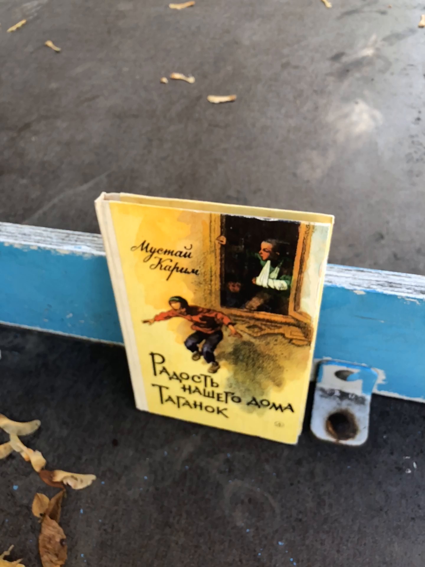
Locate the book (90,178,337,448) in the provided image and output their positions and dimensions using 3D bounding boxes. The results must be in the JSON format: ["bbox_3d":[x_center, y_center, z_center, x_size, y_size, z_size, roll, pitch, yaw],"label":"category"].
[{"bbox_3d":[0.000,0.033,0.364,0.155,0.218,0.020,9,38,14],"label":"book"}]
